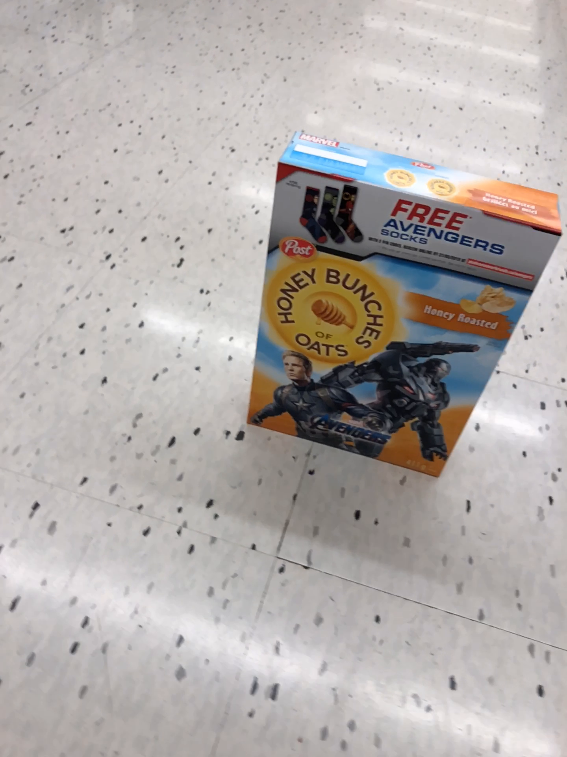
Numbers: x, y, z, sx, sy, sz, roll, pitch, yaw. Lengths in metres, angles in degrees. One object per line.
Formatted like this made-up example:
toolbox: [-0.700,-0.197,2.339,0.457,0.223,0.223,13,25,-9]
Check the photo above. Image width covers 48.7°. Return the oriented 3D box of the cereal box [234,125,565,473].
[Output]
cereal box: [0.072,-0.048,0.517,0.200,0.258,0.060,14,45,4]
